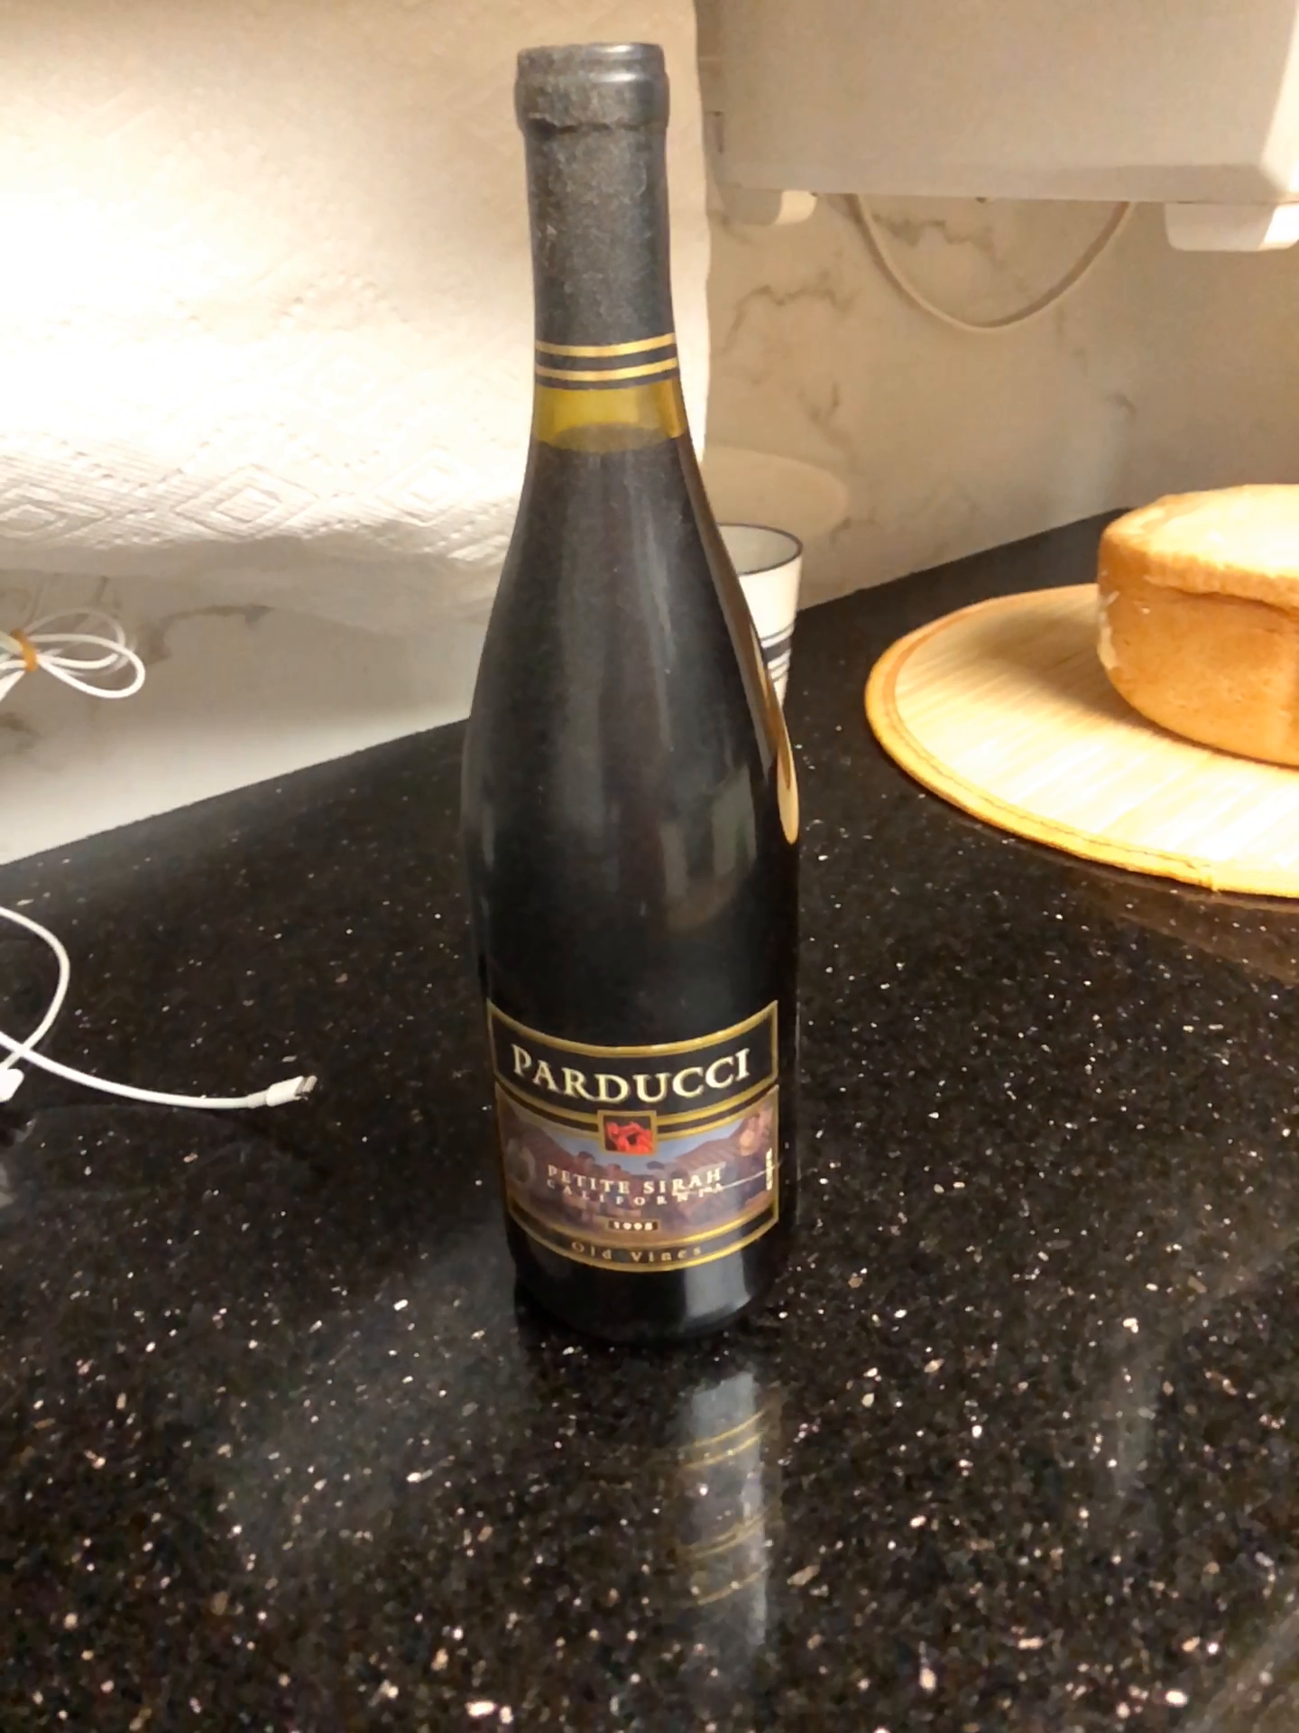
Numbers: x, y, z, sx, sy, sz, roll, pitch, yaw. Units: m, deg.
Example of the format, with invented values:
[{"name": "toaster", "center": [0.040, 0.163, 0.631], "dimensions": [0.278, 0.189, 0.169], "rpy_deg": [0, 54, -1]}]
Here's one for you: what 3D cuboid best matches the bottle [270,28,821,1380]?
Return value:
[{"name": "bottle", "center": [-0.007, -0.022, 0.340], "dimensions": [0.090, 0.298, 0.090], "rpy_deg": [-2, 28, 1]}]
